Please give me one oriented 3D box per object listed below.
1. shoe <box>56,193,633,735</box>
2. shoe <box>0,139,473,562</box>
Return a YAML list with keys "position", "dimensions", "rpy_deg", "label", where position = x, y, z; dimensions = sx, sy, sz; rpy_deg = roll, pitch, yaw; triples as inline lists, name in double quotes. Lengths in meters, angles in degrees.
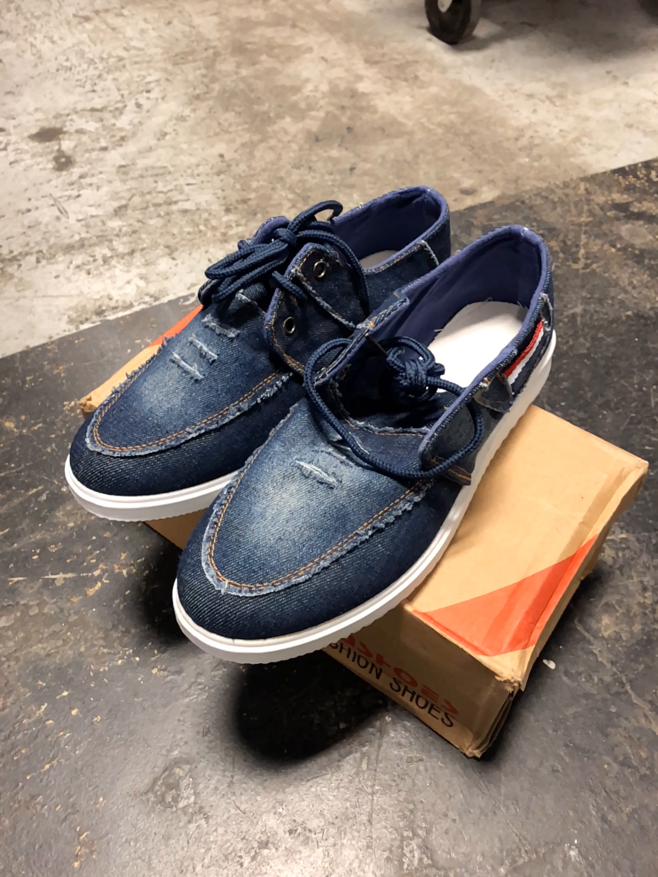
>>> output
- position: [0.024, -0.009, 0.350]
  dimensions: [0.100, 0.079, 0.271]
  rpy_deg: [35, 58, 26]
  label: "shoe"
- position: [-0.045, -0.060, 0.382]
  dimensions: [0.251, 0.079, 0.090]
  rpy_deg: [-36, 58, -26]
  label: "shoe"
